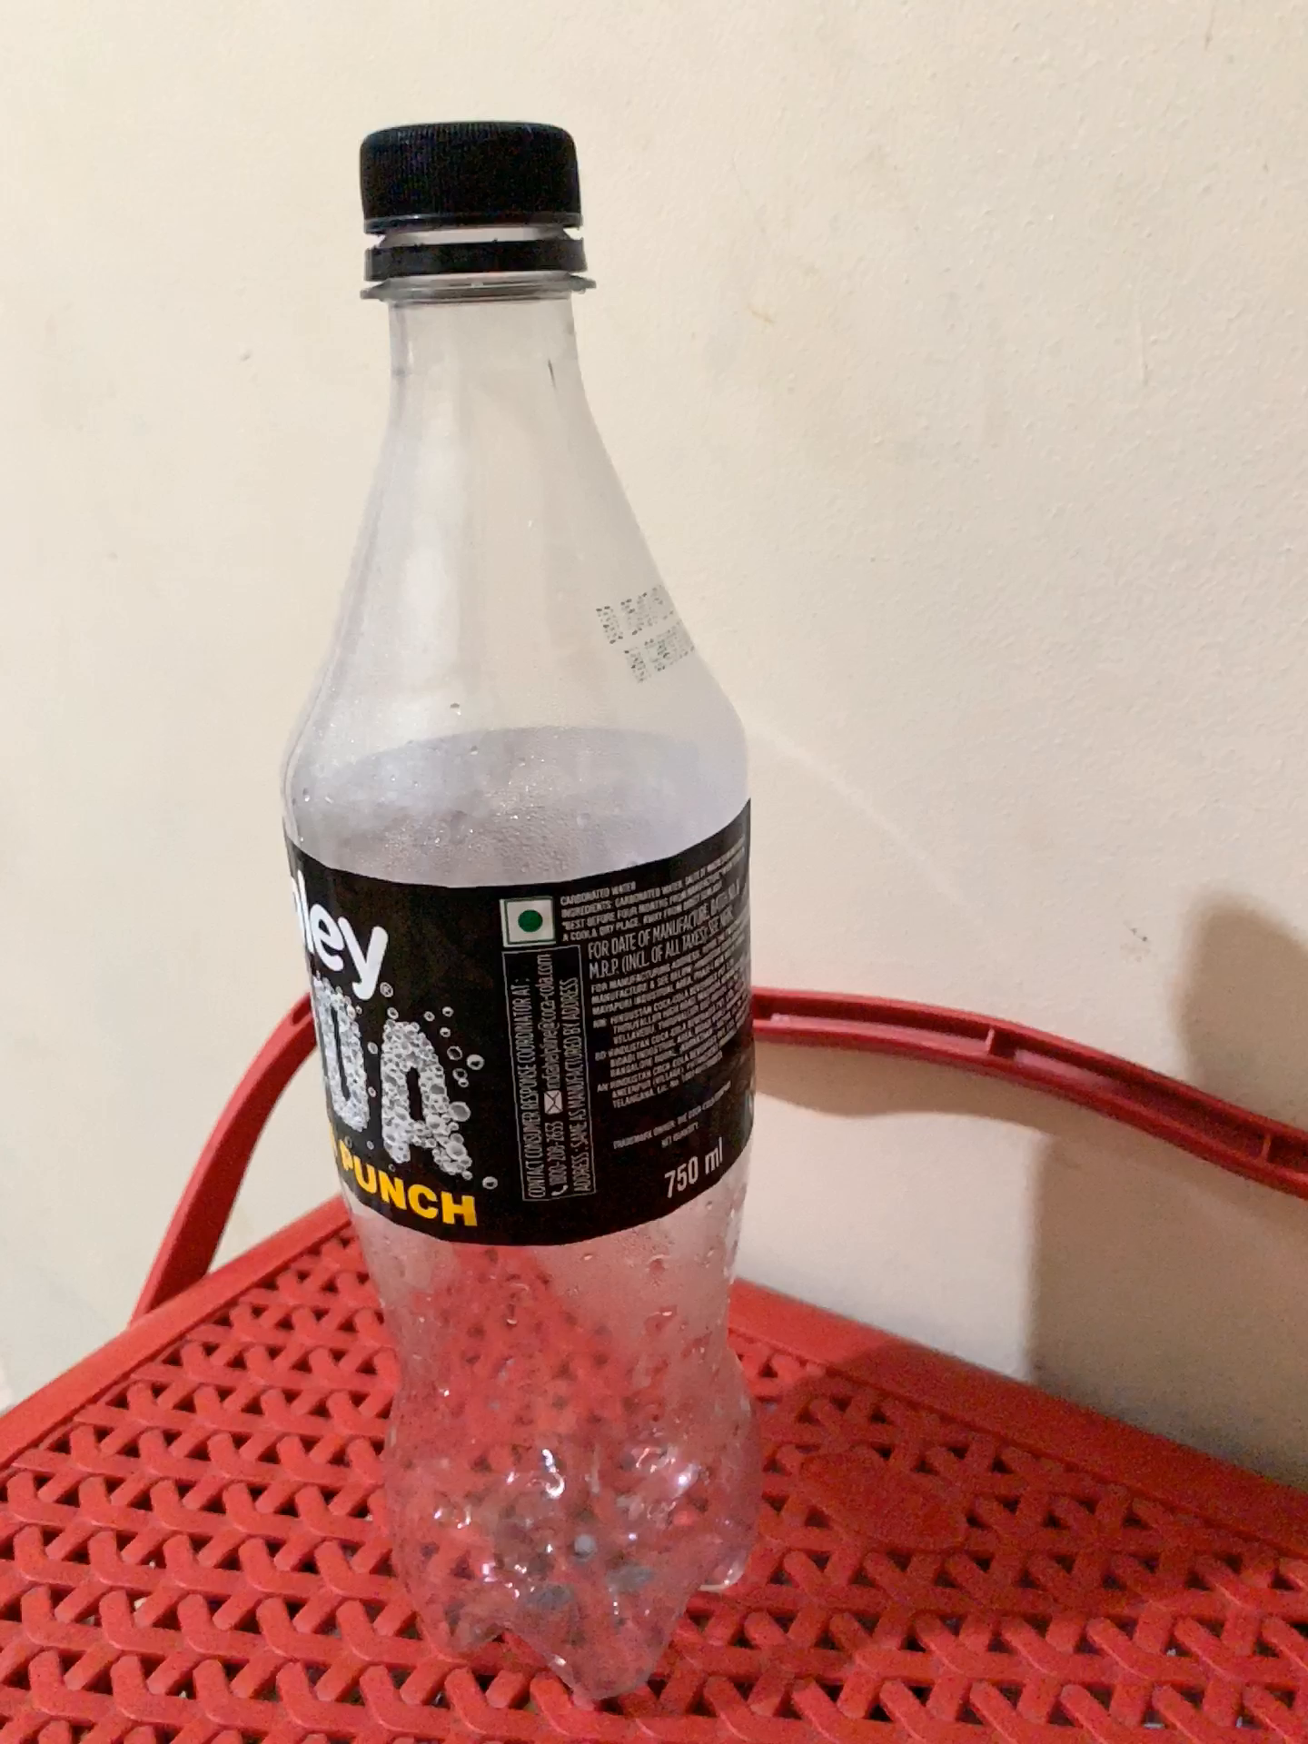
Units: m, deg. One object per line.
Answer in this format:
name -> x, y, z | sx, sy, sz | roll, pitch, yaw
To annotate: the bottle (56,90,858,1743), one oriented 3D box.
bottle -> -0.022, 0.016, 0.210 | 0.070, 0.228, 0.080 | -16, 27, -24
